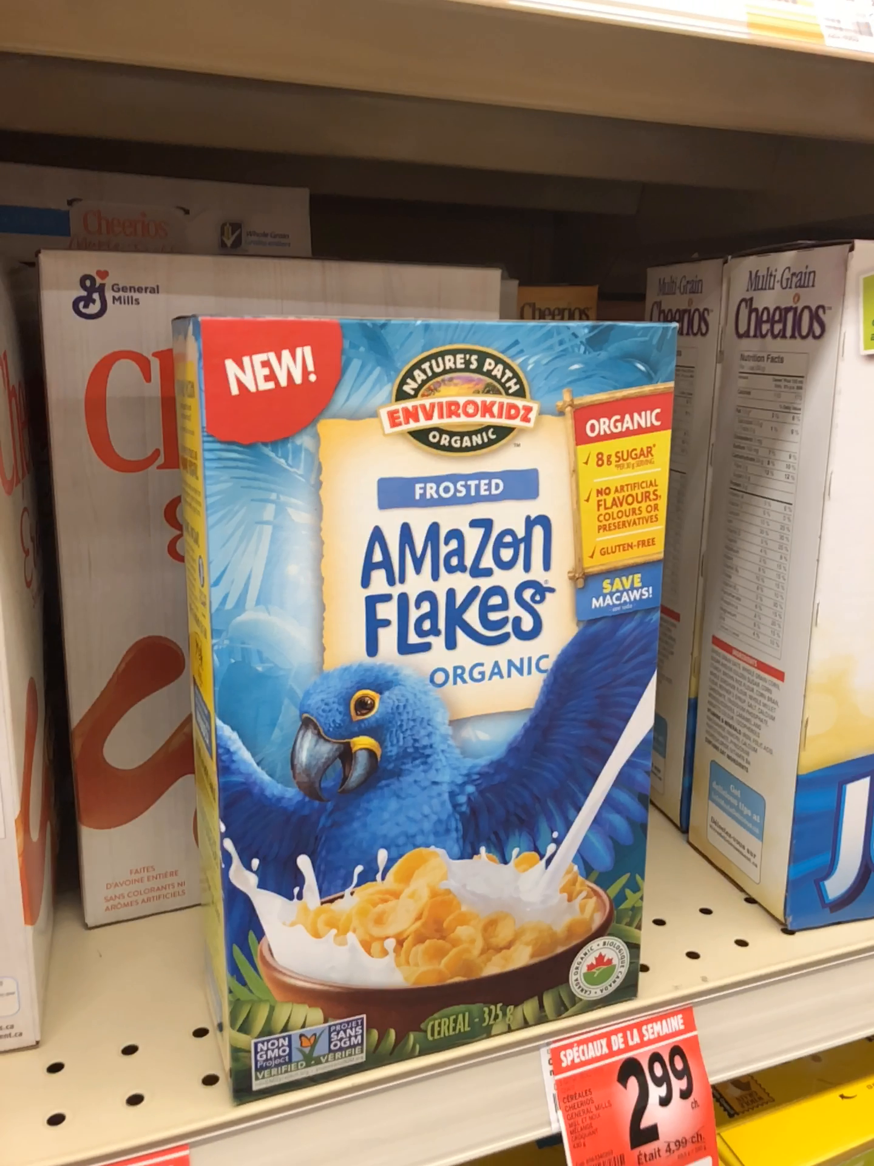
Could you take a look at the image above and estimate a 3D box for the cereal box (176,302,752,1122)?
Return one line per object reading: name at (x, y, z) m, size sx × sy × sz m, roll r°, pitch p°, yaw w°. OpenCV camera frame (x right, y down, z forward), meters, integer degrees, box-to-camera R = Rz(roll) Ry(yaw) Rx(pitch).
cereal box at (0.008, 0.037, 0.326) m, size 0.170 × 0.249 × 0.050 m, roll -5°, pitch 16°, yaw -21°
